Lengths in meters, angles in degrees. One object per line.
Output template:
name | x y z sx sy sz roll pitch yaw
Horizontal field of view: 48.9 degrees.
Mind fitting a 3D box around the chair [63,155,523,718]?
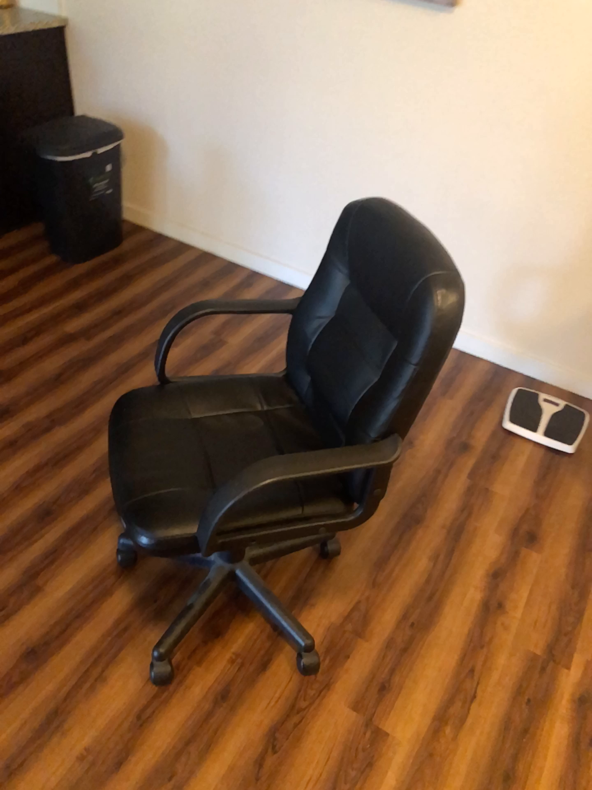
chair | -0.105 0.083 1.479 0.668 1.012 0.665 -7 40 -16
